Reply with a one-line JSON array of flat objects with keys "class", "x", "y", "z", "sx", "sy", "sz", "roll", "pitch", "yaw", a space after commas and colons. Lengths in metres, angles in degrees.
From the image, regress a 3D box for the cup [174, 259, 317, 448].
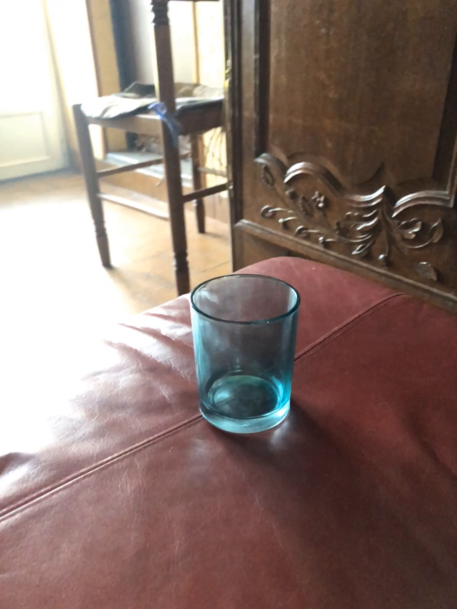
[{"class": "cup", "x": 0.015, "y": 0.028, "z": 0.327, "sx": 0.070, "sy": 0.089, "sz": 0.070, "roll": -2, "pitch": 27, "yaw": 1}]
